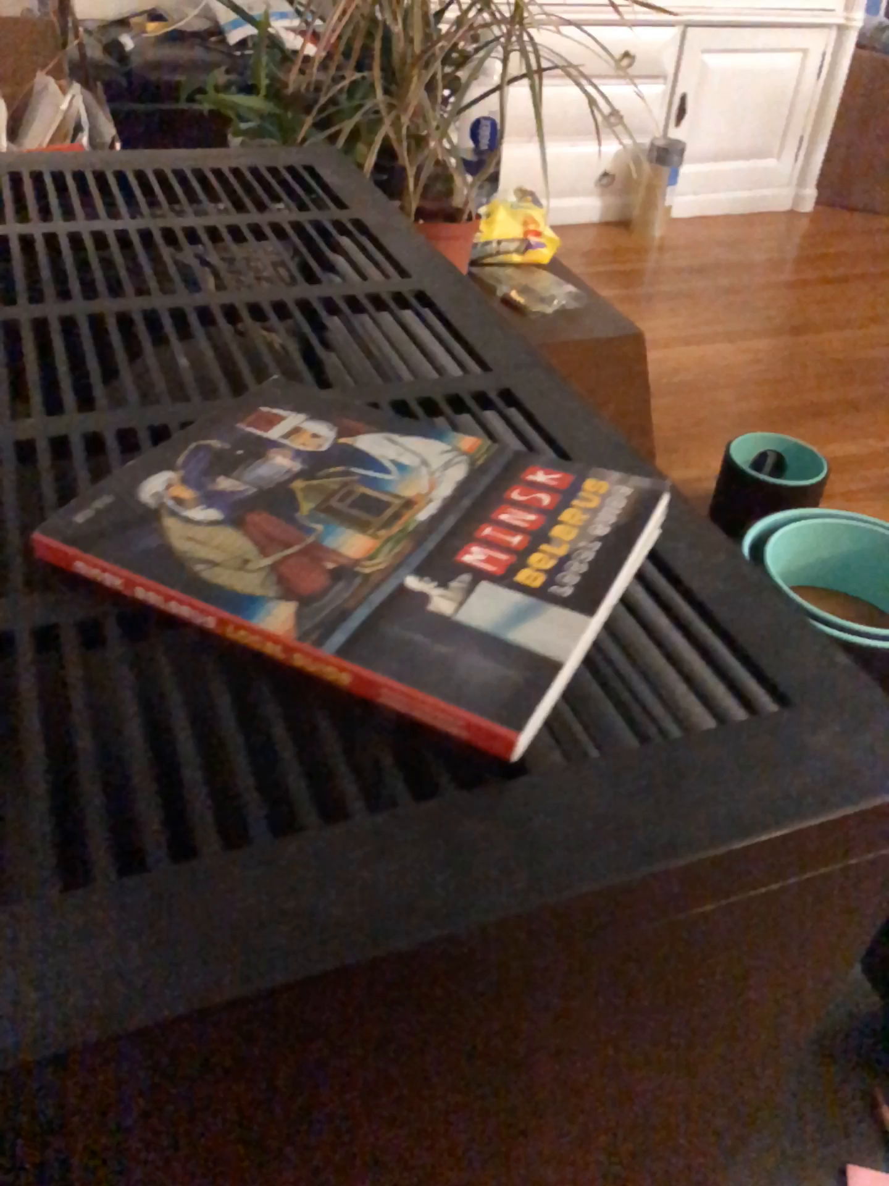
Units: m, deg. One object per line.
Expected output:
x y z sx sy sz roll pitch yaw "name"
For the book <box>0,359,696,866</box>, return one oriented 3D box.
-0.037 -0.015 0.330 0.200 0.020 0.161 21 41 19 "book"
